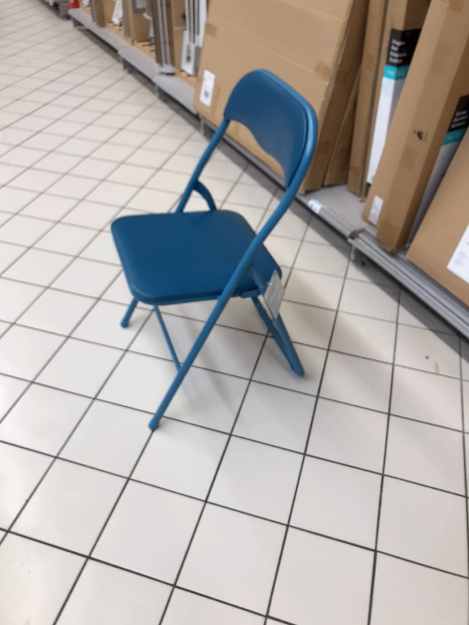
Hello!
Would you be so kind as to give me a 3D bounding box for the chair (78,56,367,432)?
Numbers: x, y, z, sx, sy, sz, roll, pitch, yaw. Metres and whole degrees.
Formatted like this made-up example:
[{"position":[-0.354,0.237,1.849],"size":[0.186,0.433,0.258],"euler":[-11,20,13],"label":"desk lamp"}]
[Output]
[{"position":[-0.073,-0.179,1.355],"size":[0.501,0.765,0.502],"euler":[-10,41,-14],"label":"chair"}]
